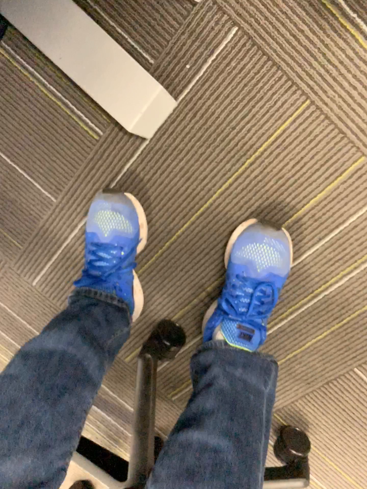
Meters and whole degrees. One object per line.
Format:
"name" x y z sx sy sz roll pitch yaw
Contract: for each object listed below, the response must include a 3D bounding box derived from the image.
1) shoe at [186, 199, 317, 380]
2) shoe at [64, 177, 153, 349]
"shoe" 0.105 0.081 0.639 0.117 0.083 0.280 19 118 5
"shoe" -0.131 0.036 0.669 0.116 0.083 0.279 11 117 9
